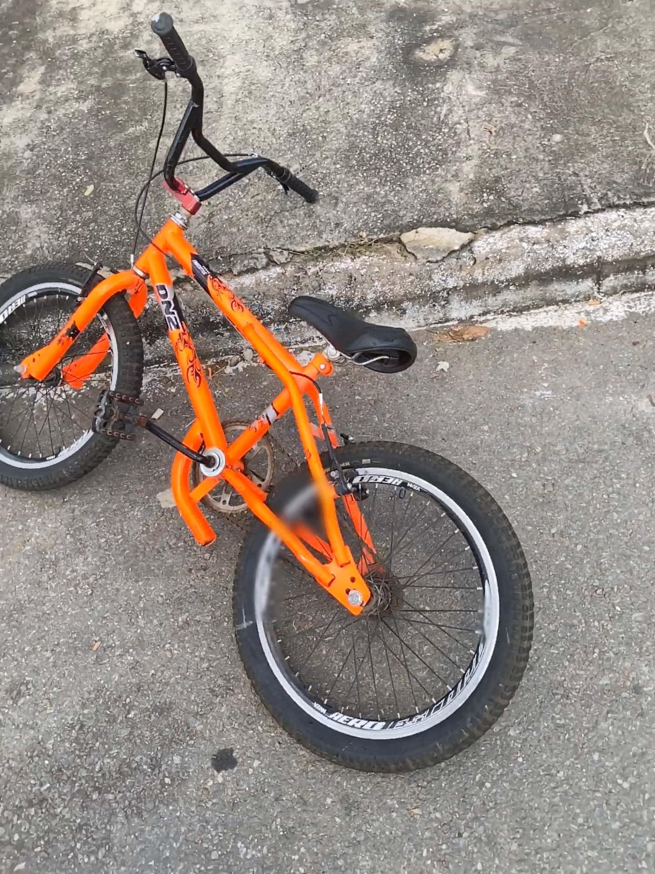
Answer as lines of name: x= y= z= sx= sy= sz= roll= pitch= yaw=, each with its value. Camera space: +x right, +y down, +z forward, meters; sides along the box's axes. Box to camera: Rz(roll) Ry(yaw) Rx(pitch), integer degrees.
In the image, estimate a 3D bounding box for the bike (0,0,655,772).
bike: x=-0.063 y=-0.270 z=1.215 sx=1.356 sy=0.858 sz=0.747 roll=34 pitch=64 yaw=27
